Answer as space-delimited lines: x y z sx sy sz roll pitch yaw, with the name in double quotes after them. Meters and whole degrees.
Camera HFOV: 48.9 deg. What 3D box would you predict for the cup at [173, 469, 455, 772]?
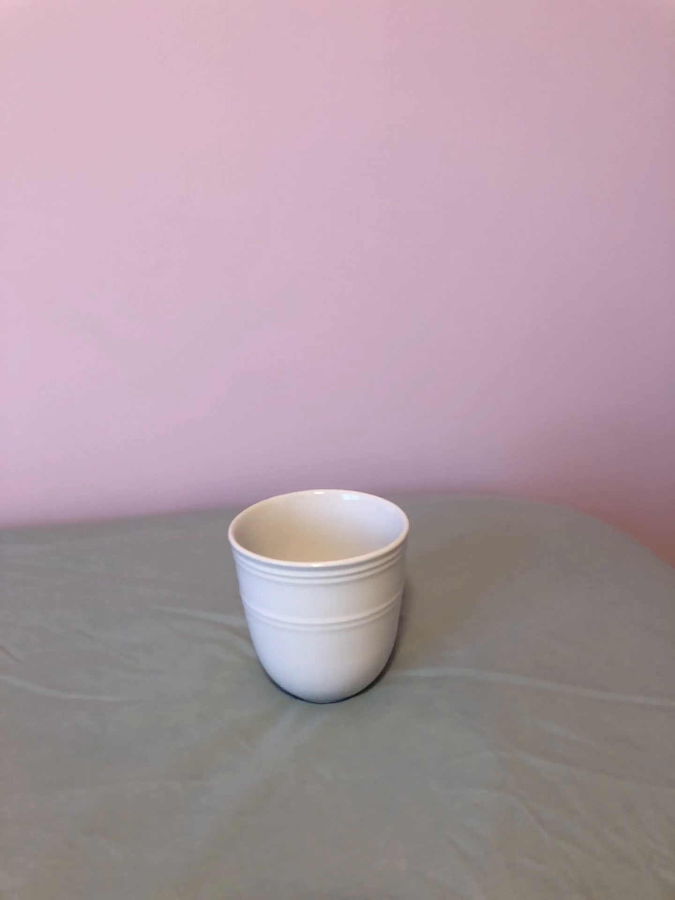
-0.007 0.089 0.447 0.100 0.100 0.140 12 24 33 "cup"
